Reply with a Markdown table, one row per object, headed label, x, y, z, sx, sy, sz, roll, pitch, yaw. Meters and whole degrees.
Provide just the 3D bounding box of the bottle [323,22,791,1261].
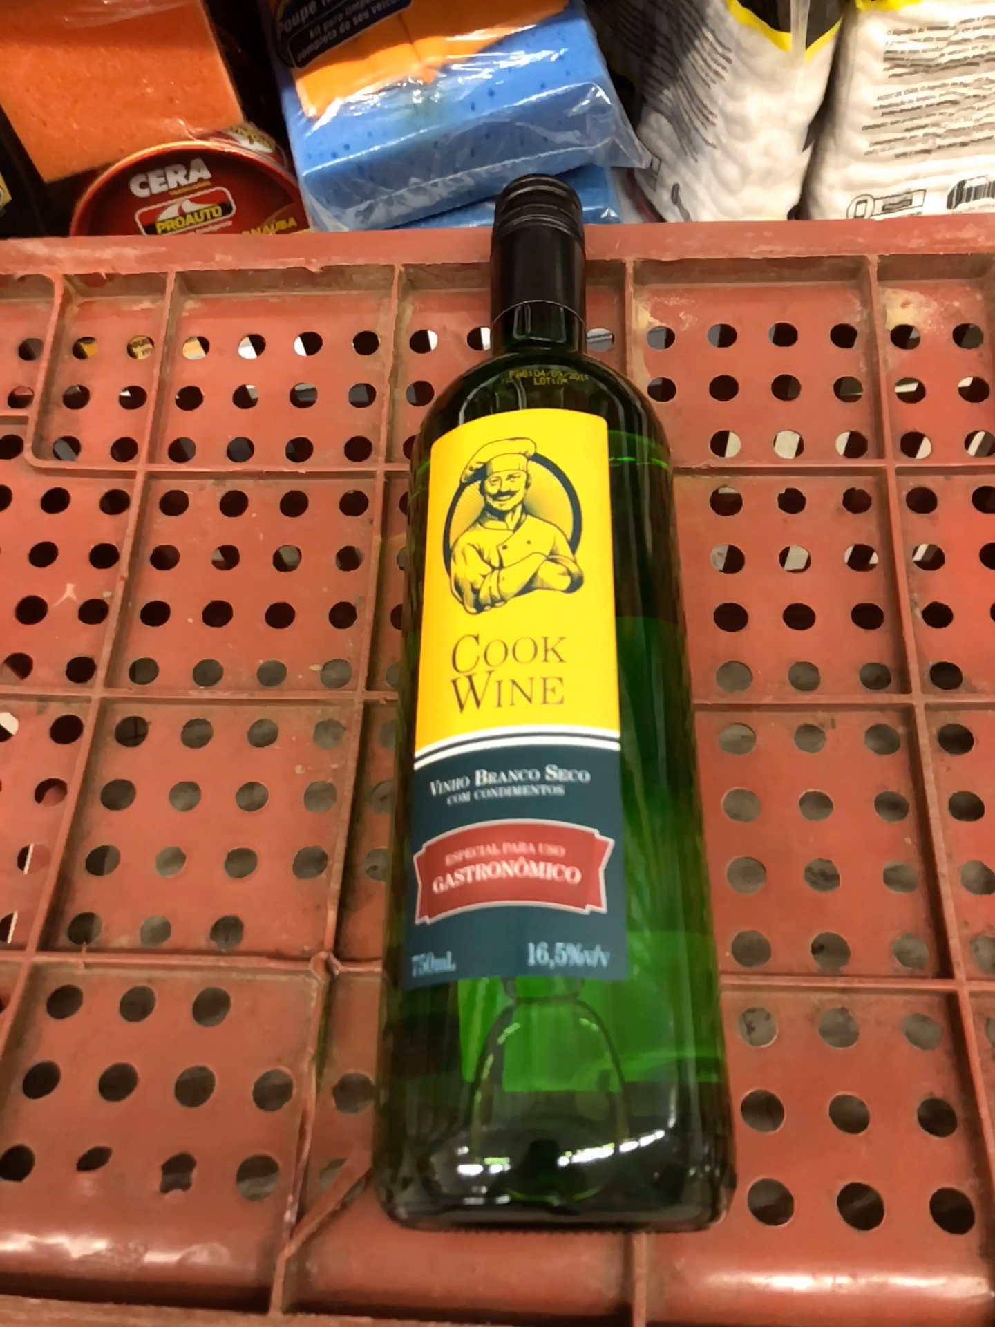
| label | x | y | z | sx | sy | sz | roll | pitch | yaw |
| --- | --- | --- | --- | --- | --- | --- | --- | --- | --- |
| bottle | 0.016 | -0.029 | 0.287 | 0.080 | 0.060 | 0.321 | -7 | 62 | 13 |
